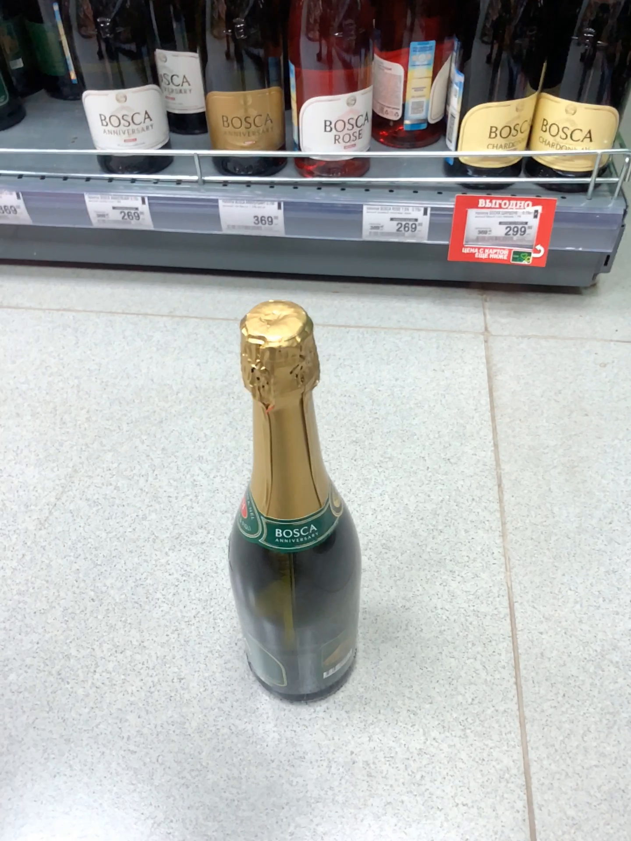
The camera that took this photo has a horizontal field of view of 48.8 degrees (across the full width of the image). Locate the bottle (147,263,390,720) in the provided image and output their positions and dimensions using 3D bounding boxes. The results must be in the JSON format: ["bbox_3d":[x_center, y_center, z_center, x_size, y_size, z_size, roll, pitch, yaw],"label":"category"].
[{"bbox_3d":[-0.013,0.068,0.403,0.090,0.314,0.090,-1,47,1],"label":"bottle"}]
